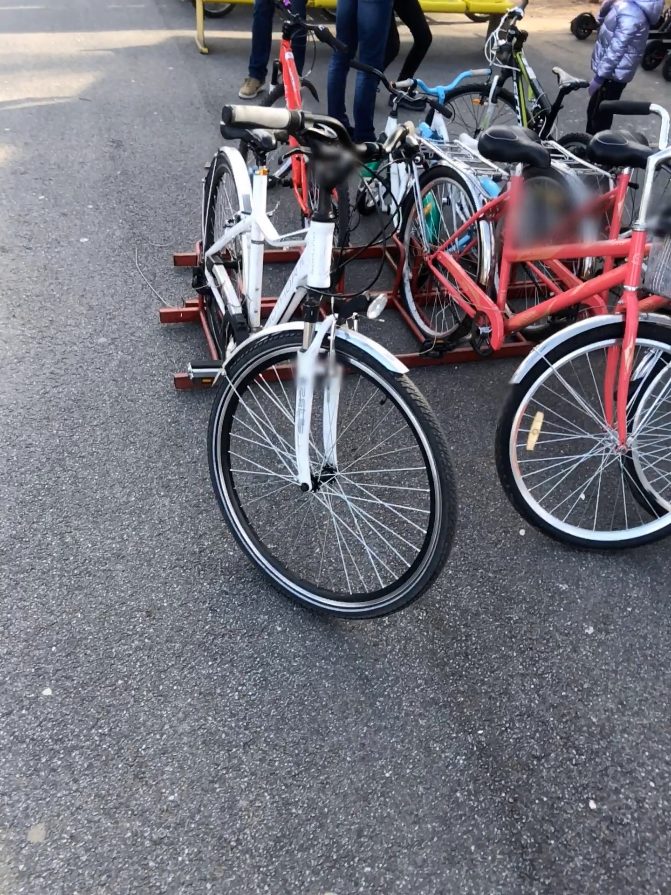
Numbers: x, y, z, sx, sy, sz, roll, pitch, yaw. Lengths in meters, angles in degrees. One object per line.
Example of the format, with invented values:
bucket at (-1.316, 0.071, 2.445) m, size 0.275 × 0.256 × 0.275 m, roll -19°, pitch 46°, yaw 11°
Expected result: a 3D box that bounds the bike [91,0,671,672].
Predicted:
bike at (-0.063, -0.479, 1.986) m, size 0.645 × 1.111 × 1.705 m, roll -15°, pitch 43°, yaw -20°
